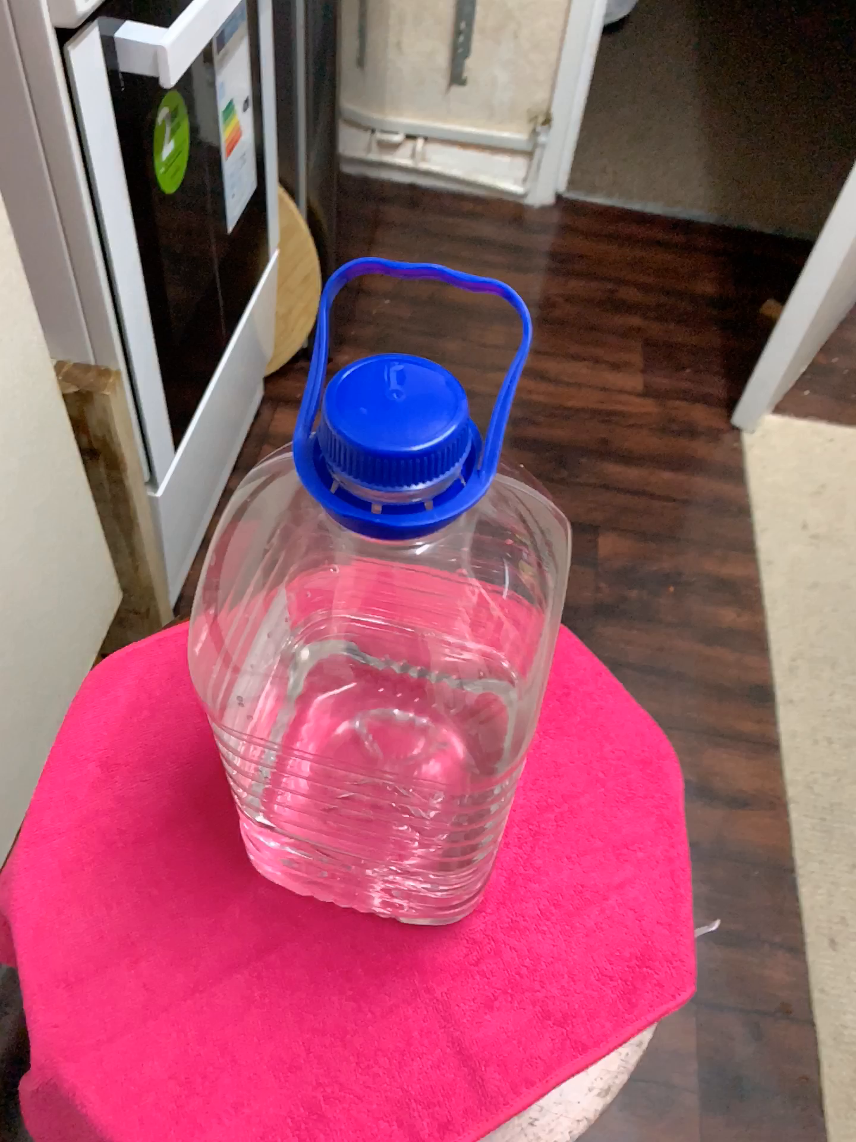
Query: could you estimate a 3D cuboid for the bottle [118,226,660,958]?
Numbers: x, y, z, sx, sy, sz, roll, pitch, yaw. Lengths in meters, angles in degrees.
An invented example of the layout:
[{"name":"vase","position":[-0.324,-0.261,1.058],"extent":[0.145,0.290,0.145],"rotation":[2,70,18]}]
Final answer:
[{"name":"bottle","position":[-0.015,0.042,0.410],"extent":[0.140,0.327,0.151],"rotation":[3,52,-4]}]
